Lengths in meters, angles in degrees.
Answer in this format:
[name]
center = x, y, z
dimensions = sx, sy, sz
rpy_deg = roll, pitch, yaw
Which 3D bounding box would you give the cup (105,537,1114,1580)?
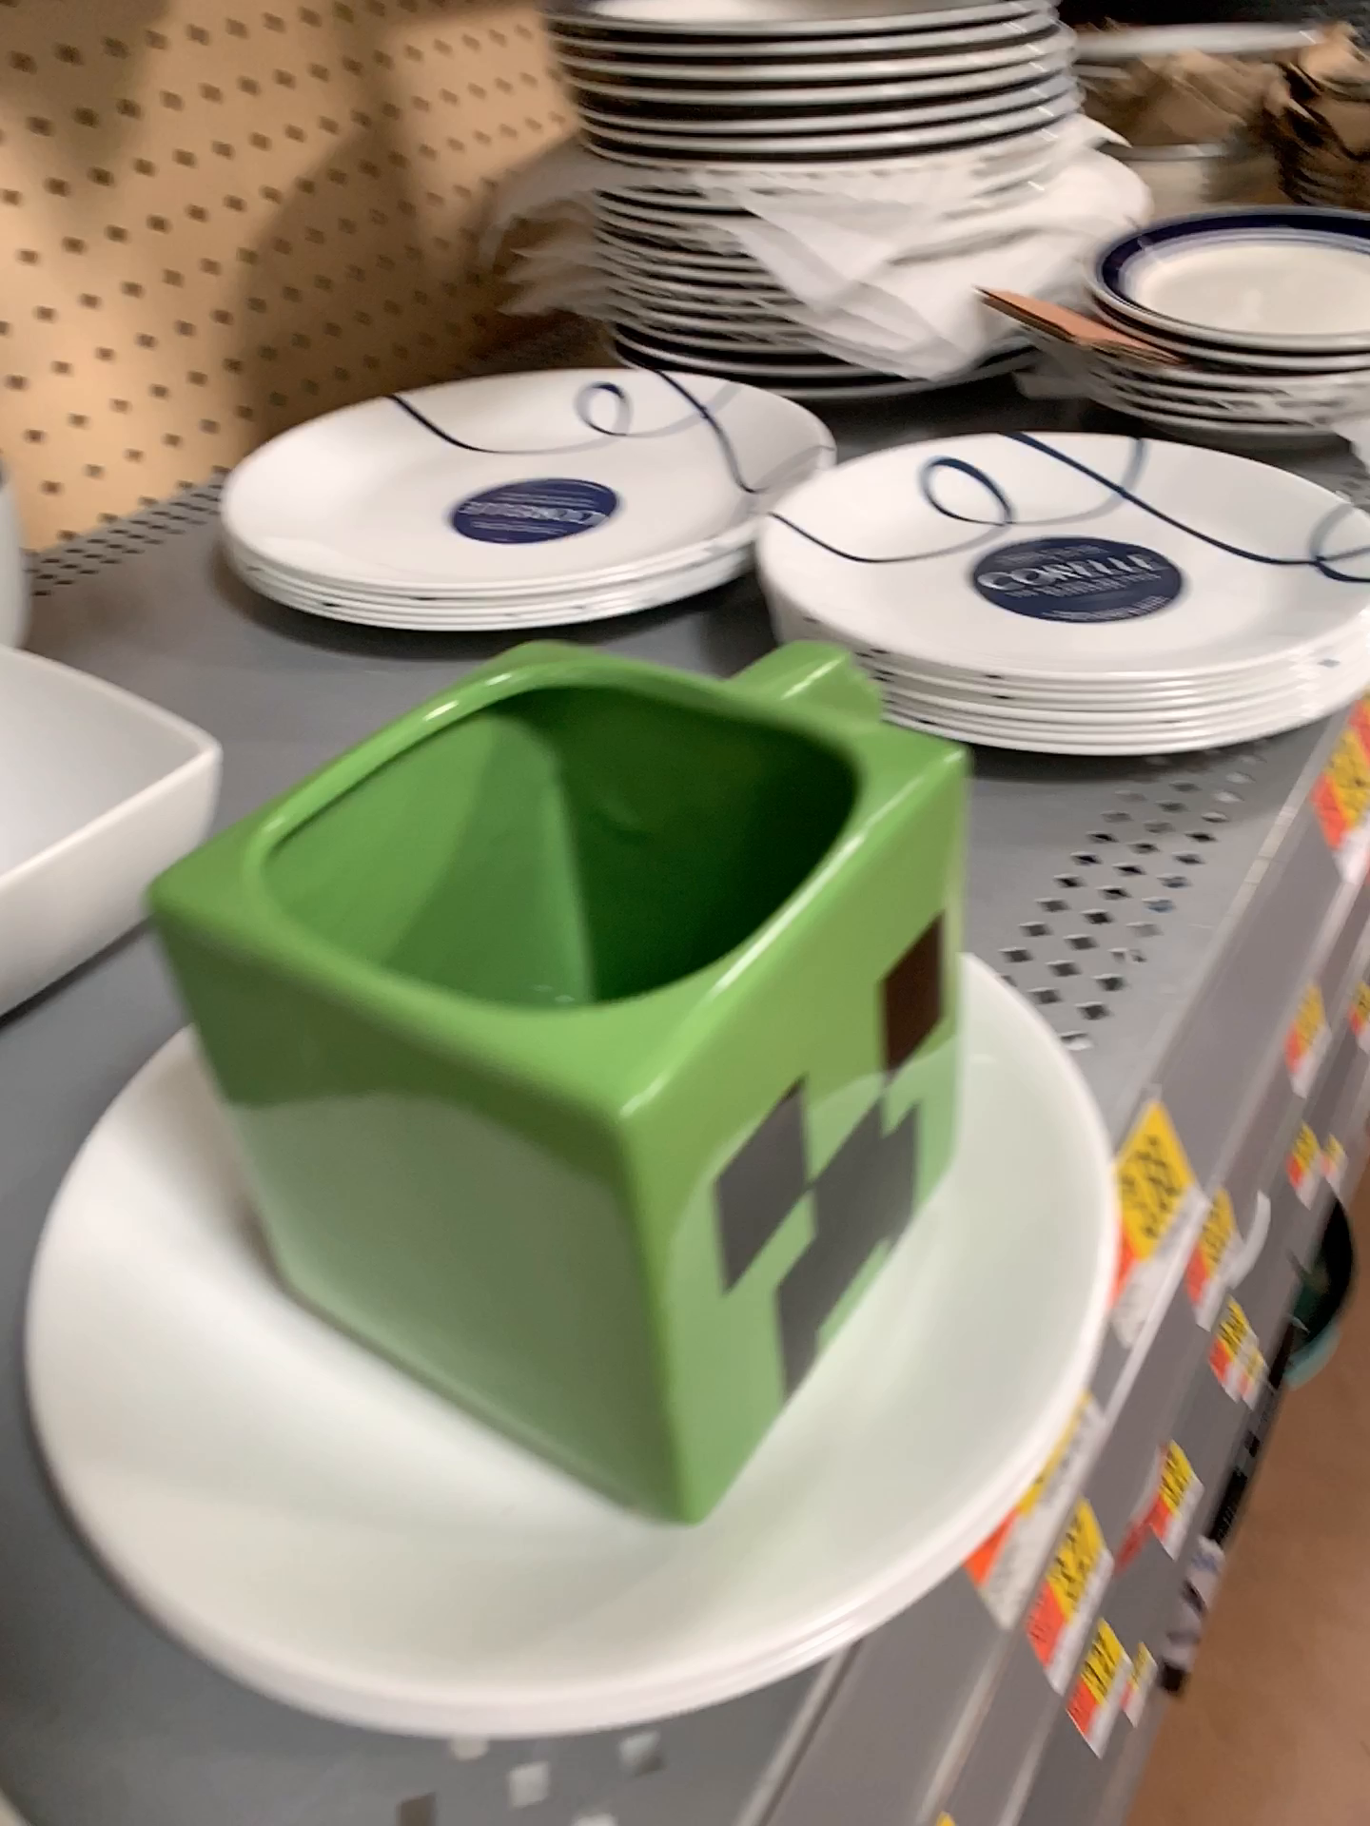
[cup]
center = -0.002, 0.013, 0.266
dimensions = 0.106, 0.104, 0.142
rpy_deg = 20, 43, 29
